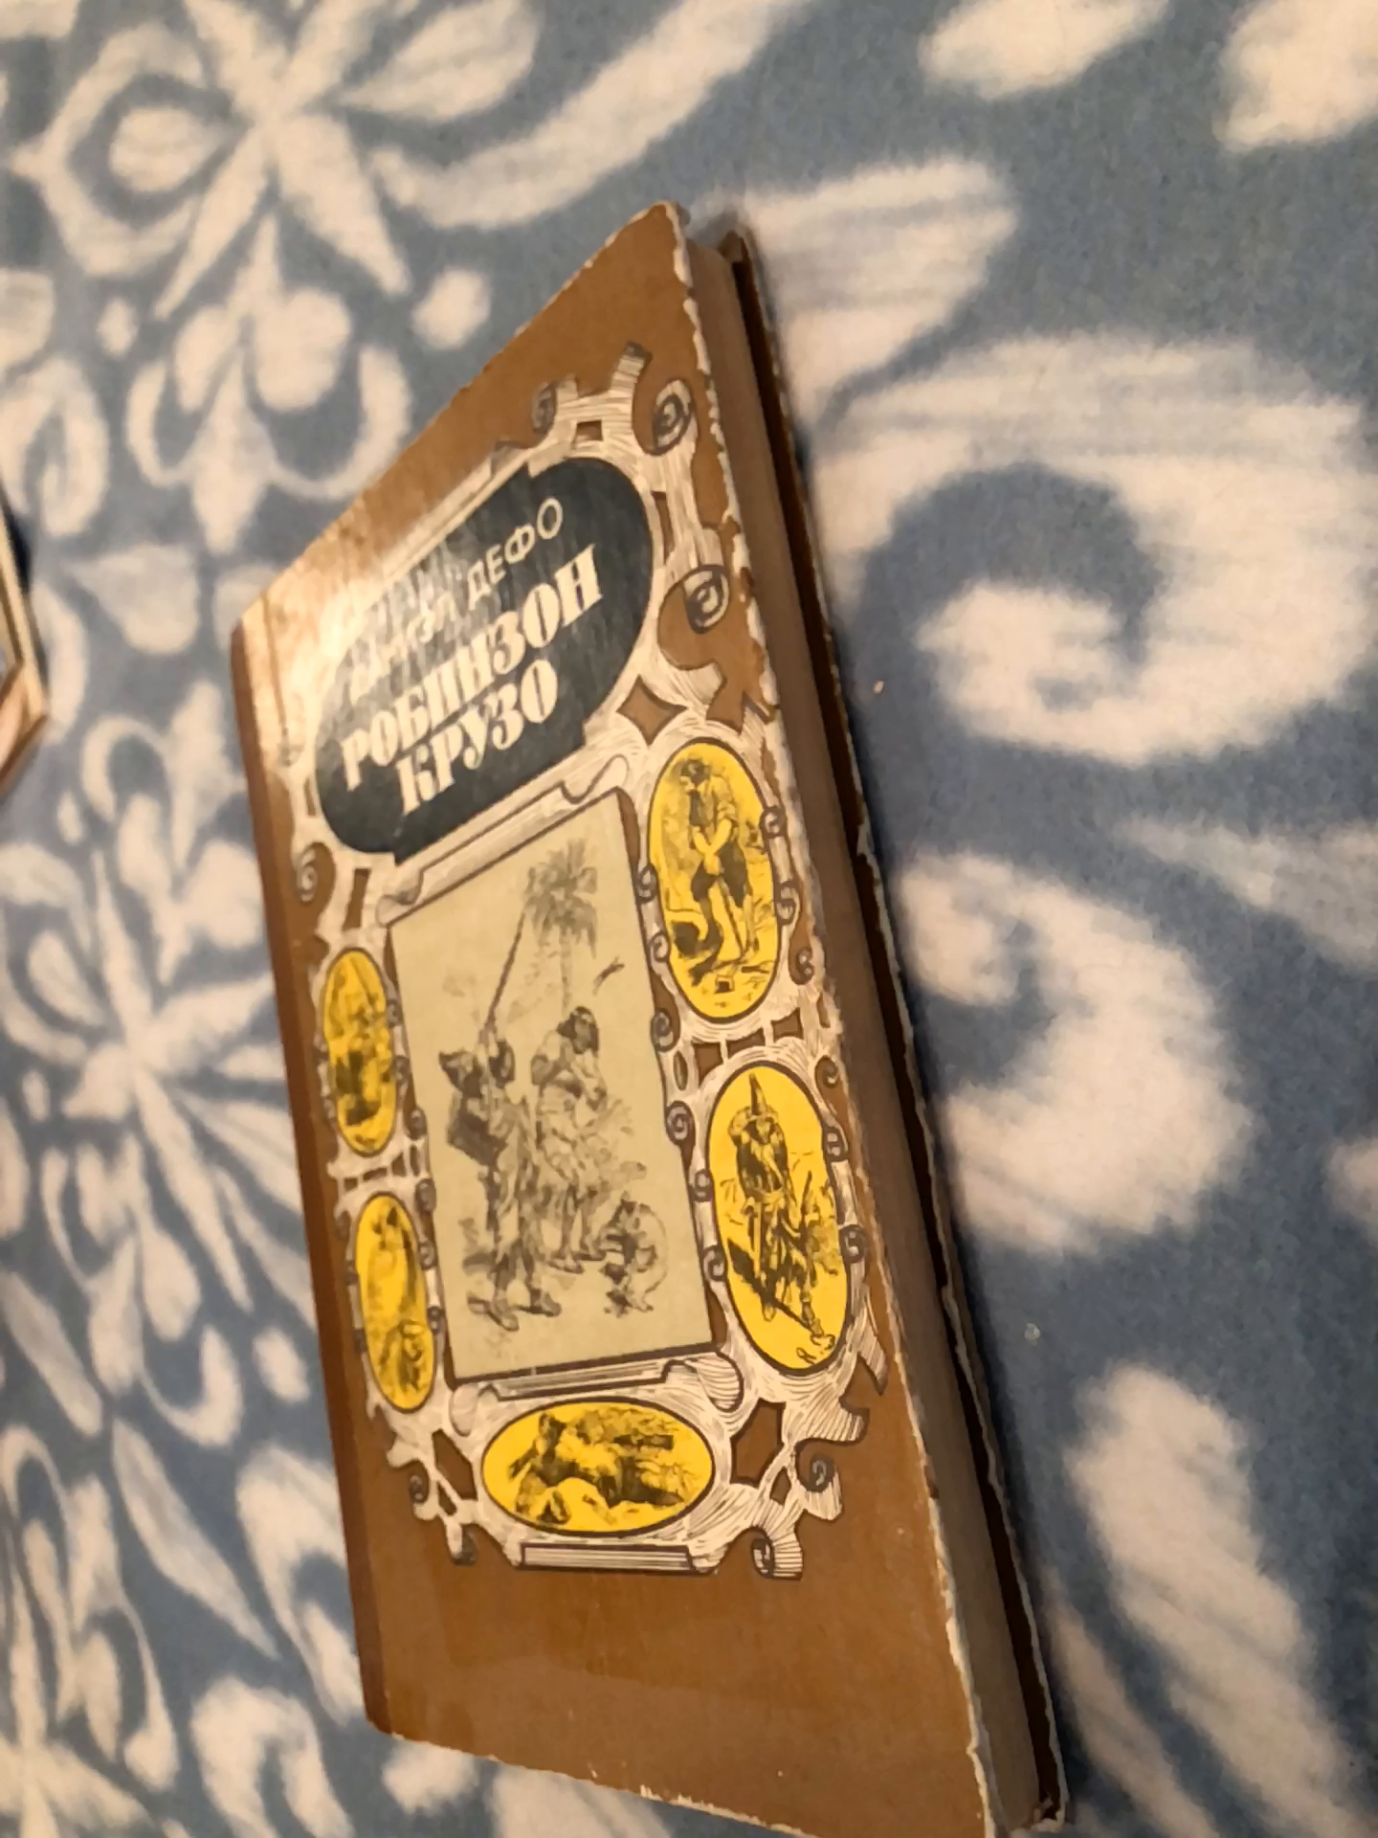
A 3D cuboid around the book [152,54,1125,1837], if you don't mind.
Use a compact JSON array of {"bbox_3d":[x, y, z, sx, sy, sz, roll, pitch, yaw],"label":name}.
[{"bbox_3d":[-0.035,0.021,0.261,0.179,0.024,0.242,-24,71,48],"label":"book"}]
